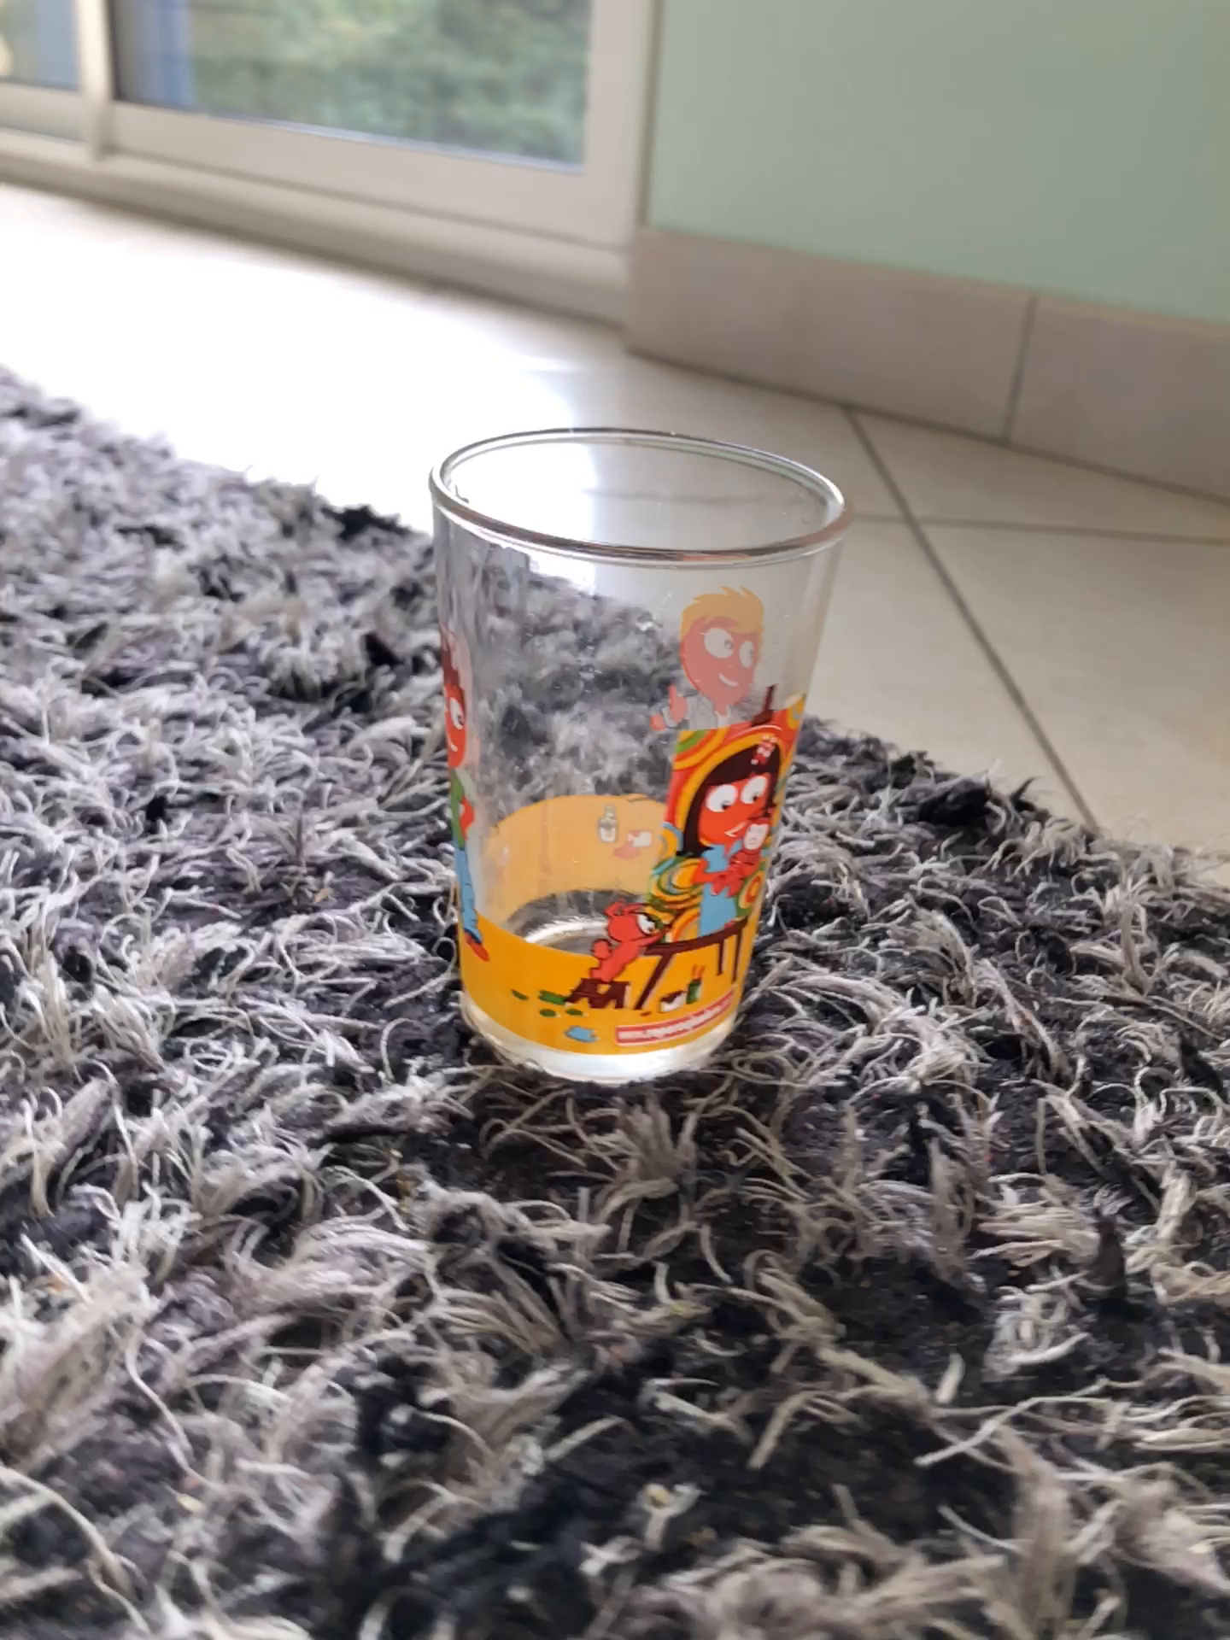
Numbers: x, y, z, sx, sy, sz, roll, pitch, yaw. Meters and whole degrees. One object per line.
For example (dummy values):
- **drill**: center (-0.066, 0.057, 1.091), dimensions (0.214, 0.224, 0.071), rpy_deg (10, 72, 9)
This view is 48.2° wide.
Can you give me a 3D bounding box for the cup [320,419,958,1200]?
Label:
- **cup**: center (-0.001, -0.008, 0.234), dimensions (0.070, 0.099, 0.070), rpy_deg (4, 27, -2)
